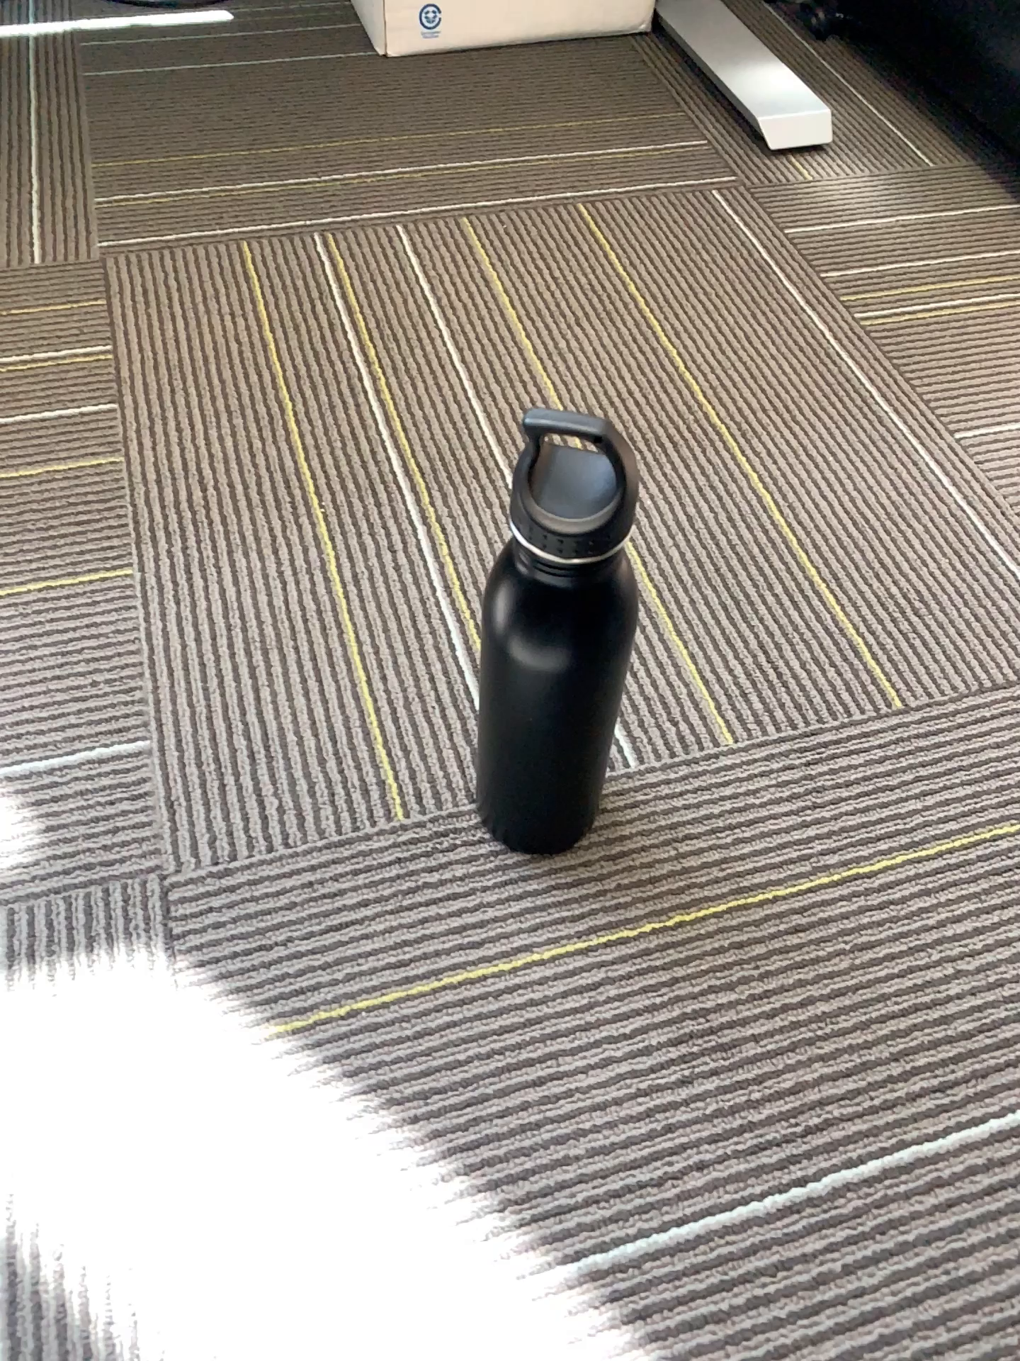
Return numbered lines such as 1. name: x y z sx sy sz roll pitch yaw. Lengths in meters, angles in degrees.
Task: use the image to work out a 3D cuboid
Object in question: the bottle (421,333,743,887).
1. bottle: 0.021 -0.015 0.474 0.090 0.249 0.080 26 55 16
